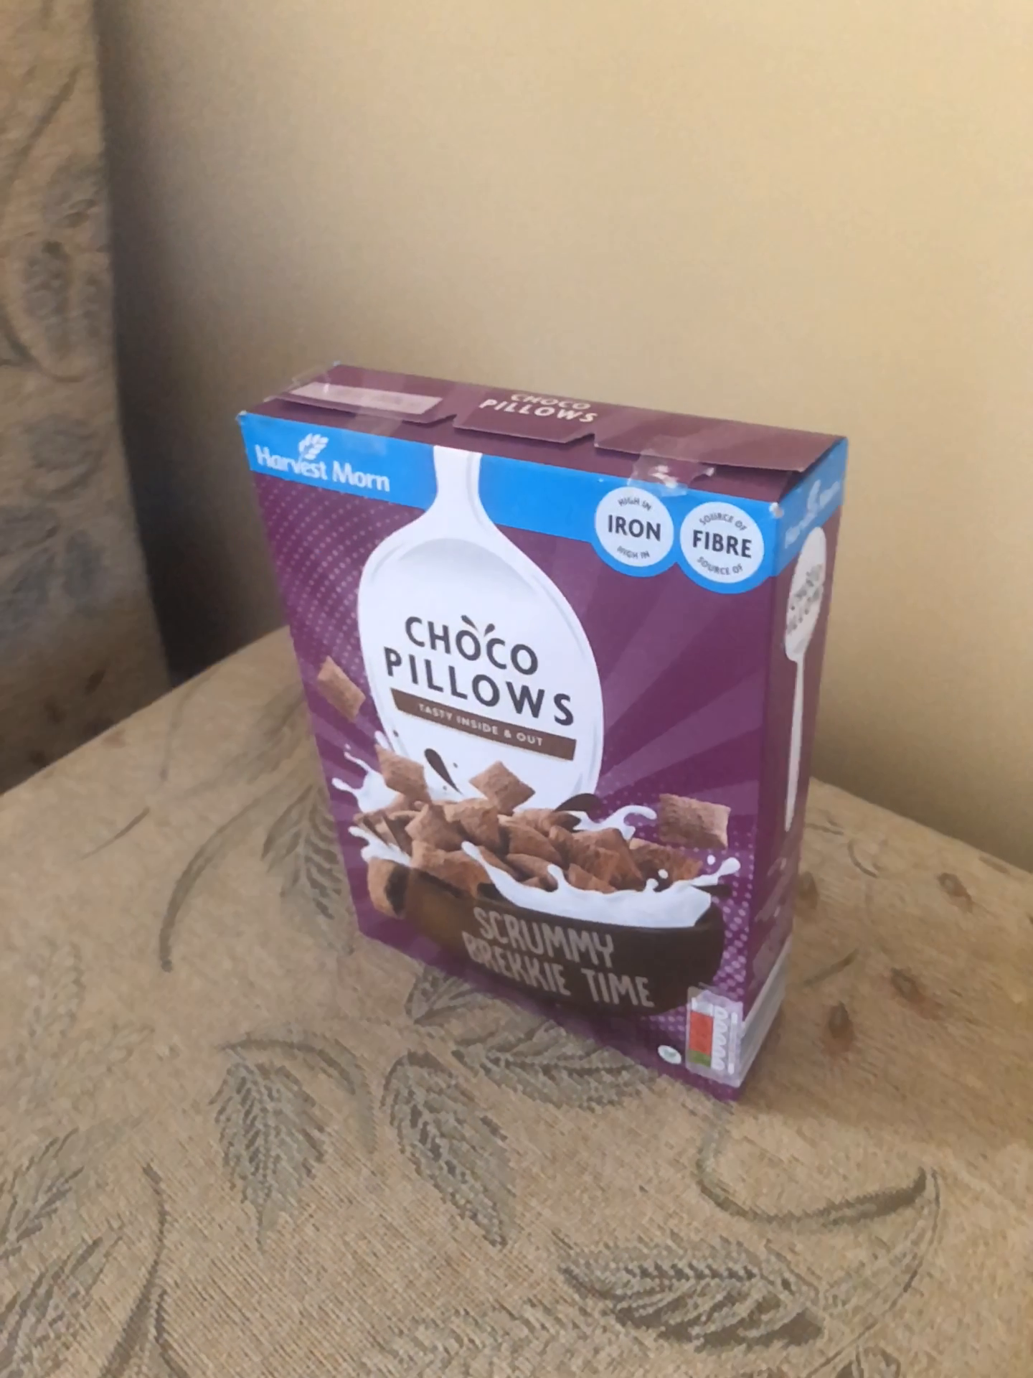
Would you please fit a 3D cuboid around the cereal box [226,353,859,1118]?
[{"bbox_3d":[0.011,0.025,0.456,0.200,0.278,0.060,15,41,24],"label":"cereal box"}]
